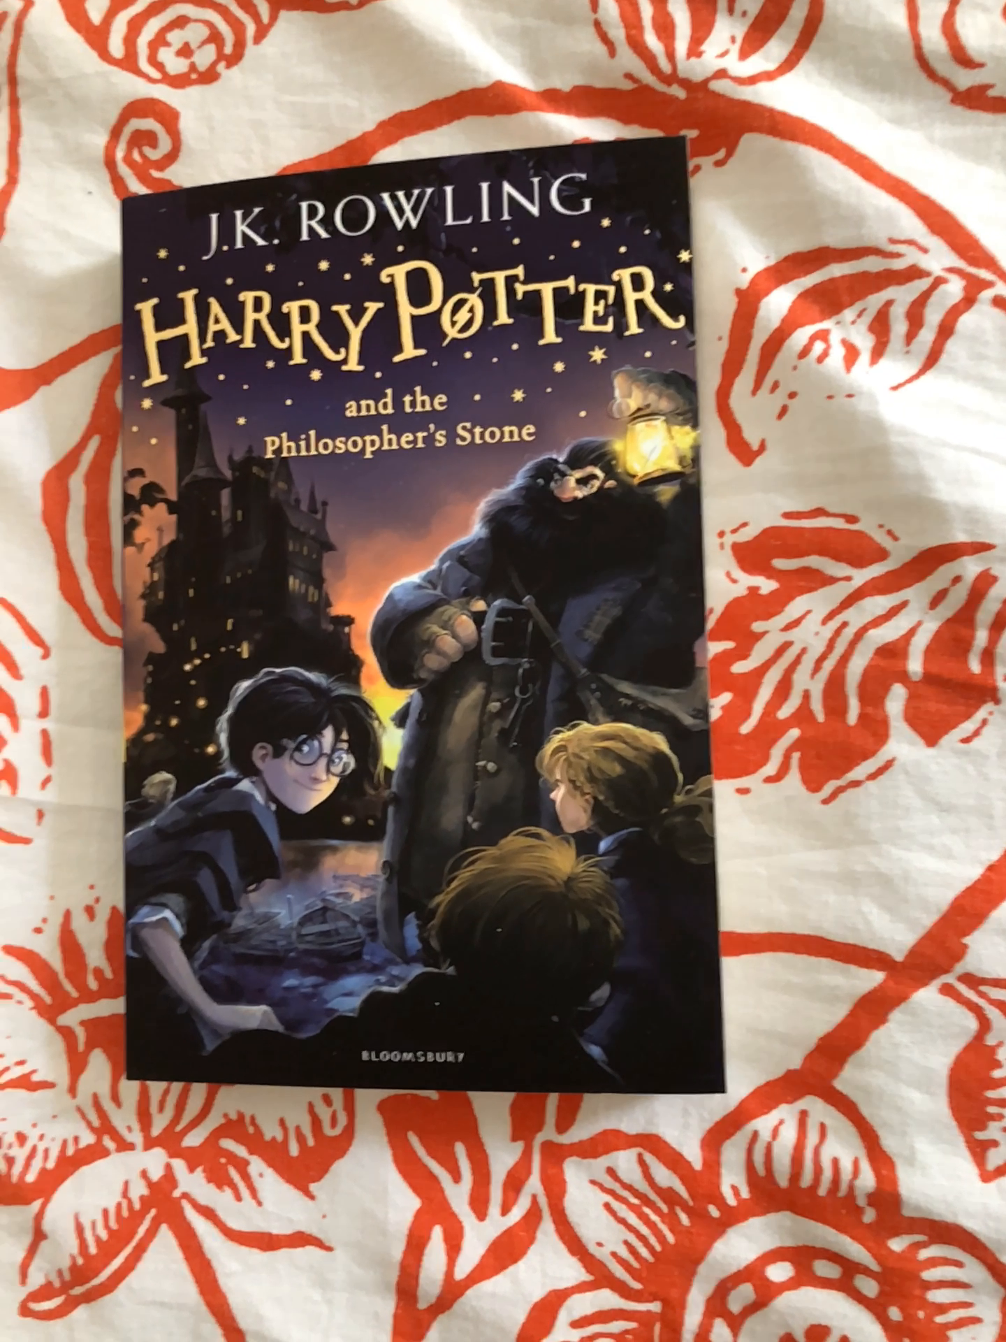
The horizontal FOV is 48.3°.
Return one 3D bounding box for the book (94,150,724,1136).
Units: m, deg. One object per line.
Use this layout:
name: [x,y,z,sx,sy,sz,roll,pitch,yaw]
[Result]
book: [-0.019,-0.007,0.235,0.127,0.020,0.189,0,87,9]
